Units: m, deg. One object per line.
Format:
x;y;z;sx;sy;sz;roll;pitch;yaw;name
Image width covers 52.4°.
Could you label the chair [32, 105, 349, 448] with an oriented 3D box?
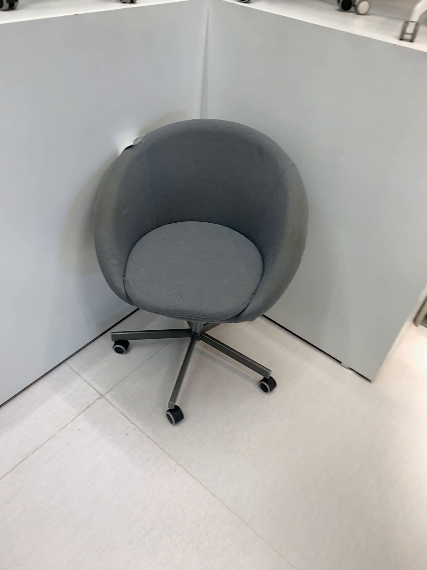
-0.039;-0.034;1.519;0.730;0.826;0.713;10;42;4;chair
